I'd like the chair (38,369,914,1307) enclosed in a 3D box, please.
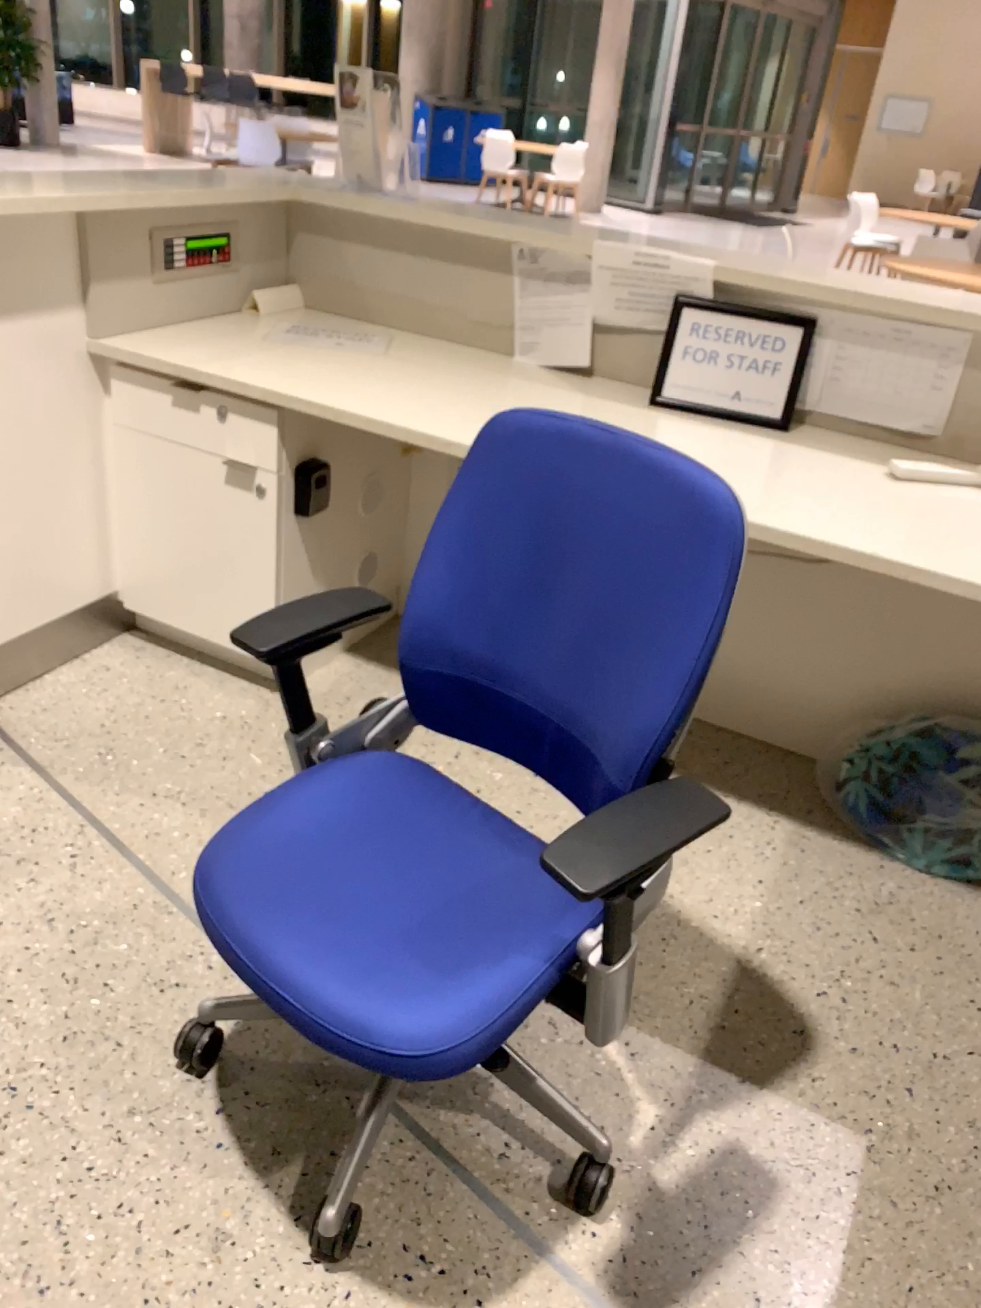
[{"bbox_3d":[-0.050,0.197,1.292,0.688,0.880,0.650,28,35,33],"label":"chair"}]
